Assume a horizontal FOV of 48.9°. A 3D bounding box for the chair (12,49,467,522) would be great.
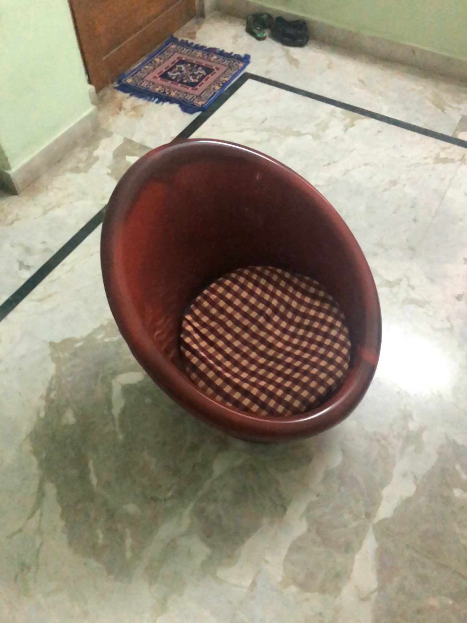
[{"bbox_3d":[0.067,-0.081,1.154,0.632,0.547,0.672,35,61,23],"label":"chair"}]
